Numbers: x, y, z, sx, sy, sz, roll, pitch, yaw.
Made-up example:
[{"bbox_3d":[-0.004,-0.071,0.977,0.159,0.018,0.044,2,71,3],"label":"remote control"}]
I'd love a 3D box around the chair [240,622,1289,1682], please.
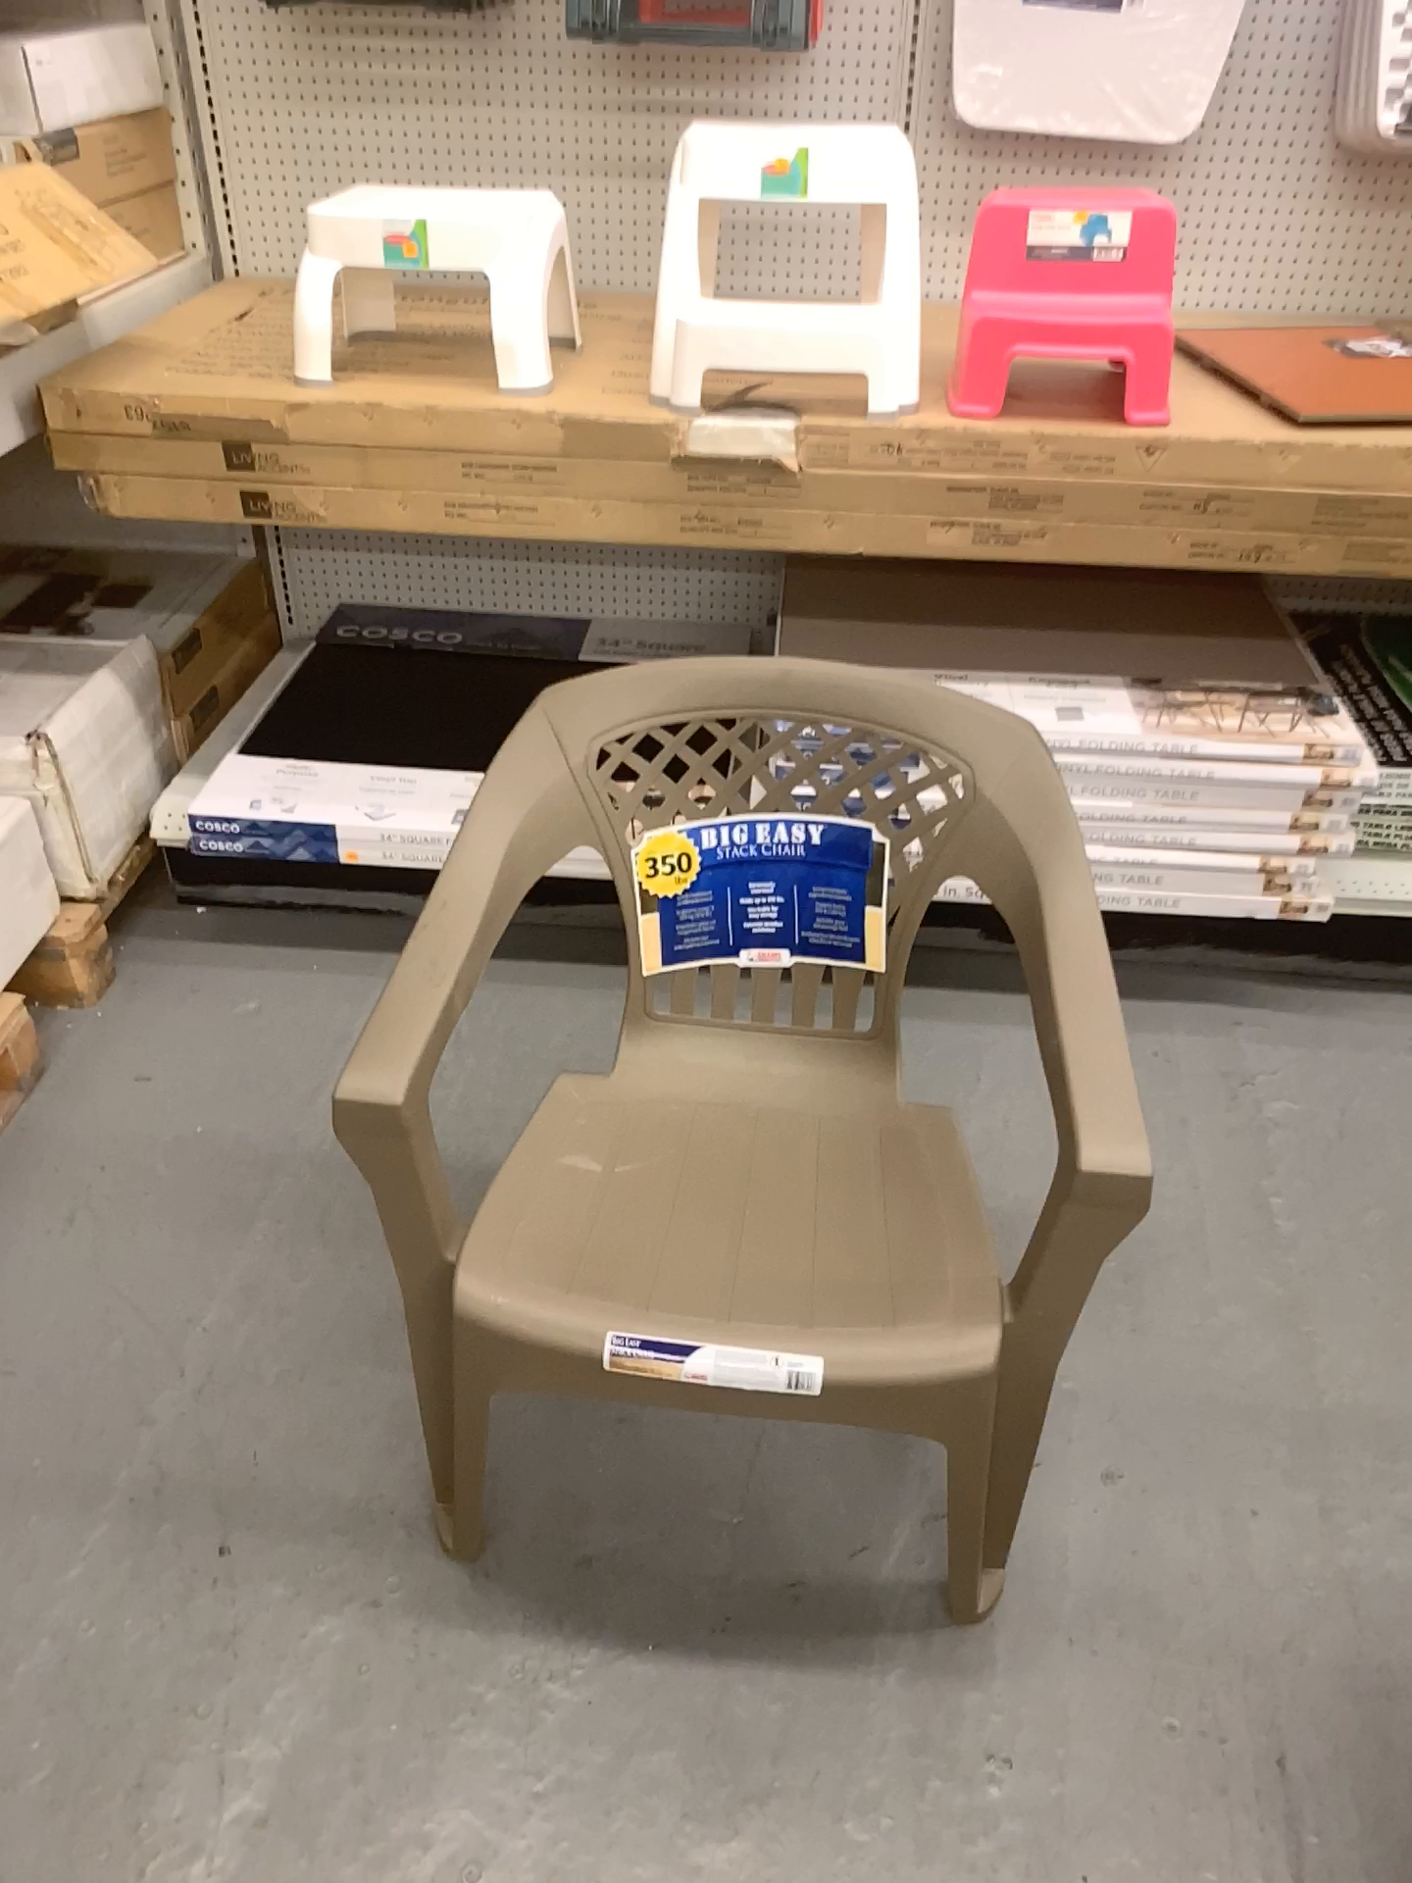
[{"bbox_3d":[0.060,0.212,1.531,0.766,0.878,0.590,5,34,6],"label":"chair"}]
